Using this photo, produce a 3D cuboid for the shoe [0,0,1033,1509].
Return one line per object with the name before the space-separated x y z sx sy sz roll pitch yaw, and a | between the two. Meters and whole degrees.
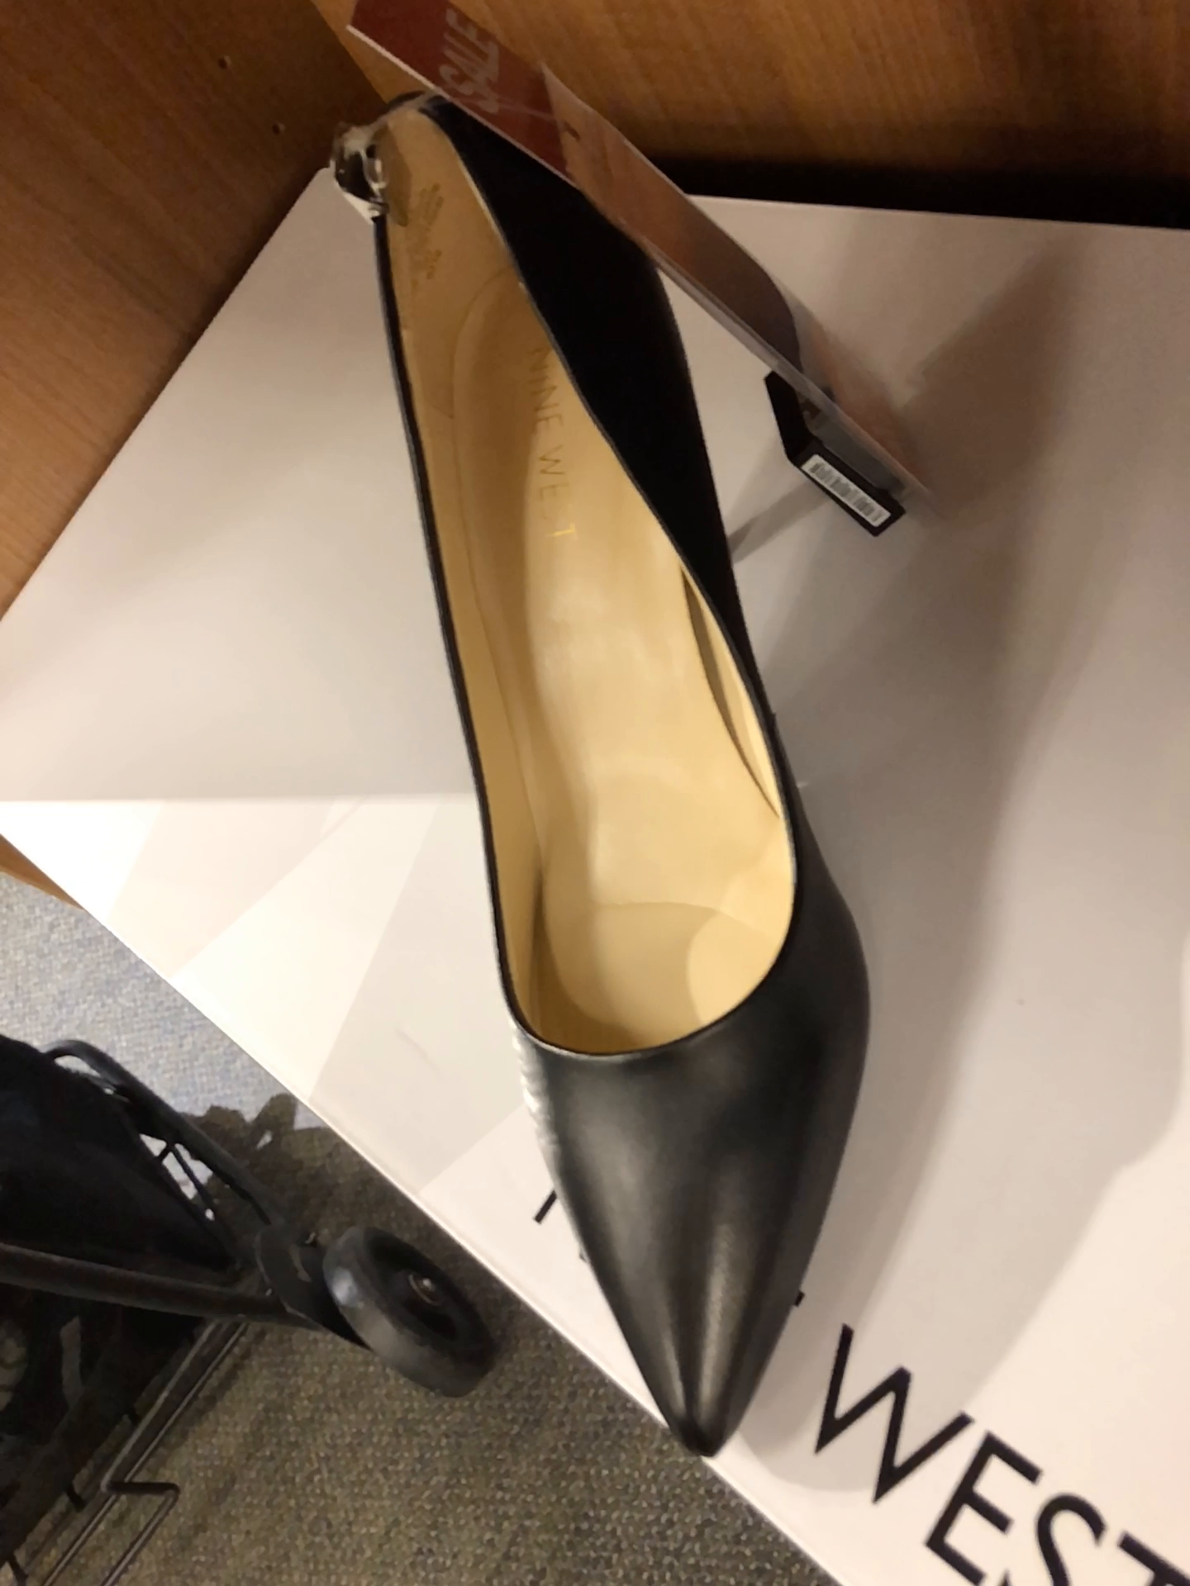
shoe | 0.005 -0.006 0.263 0.096 0.160 0.255 -13 58 27
